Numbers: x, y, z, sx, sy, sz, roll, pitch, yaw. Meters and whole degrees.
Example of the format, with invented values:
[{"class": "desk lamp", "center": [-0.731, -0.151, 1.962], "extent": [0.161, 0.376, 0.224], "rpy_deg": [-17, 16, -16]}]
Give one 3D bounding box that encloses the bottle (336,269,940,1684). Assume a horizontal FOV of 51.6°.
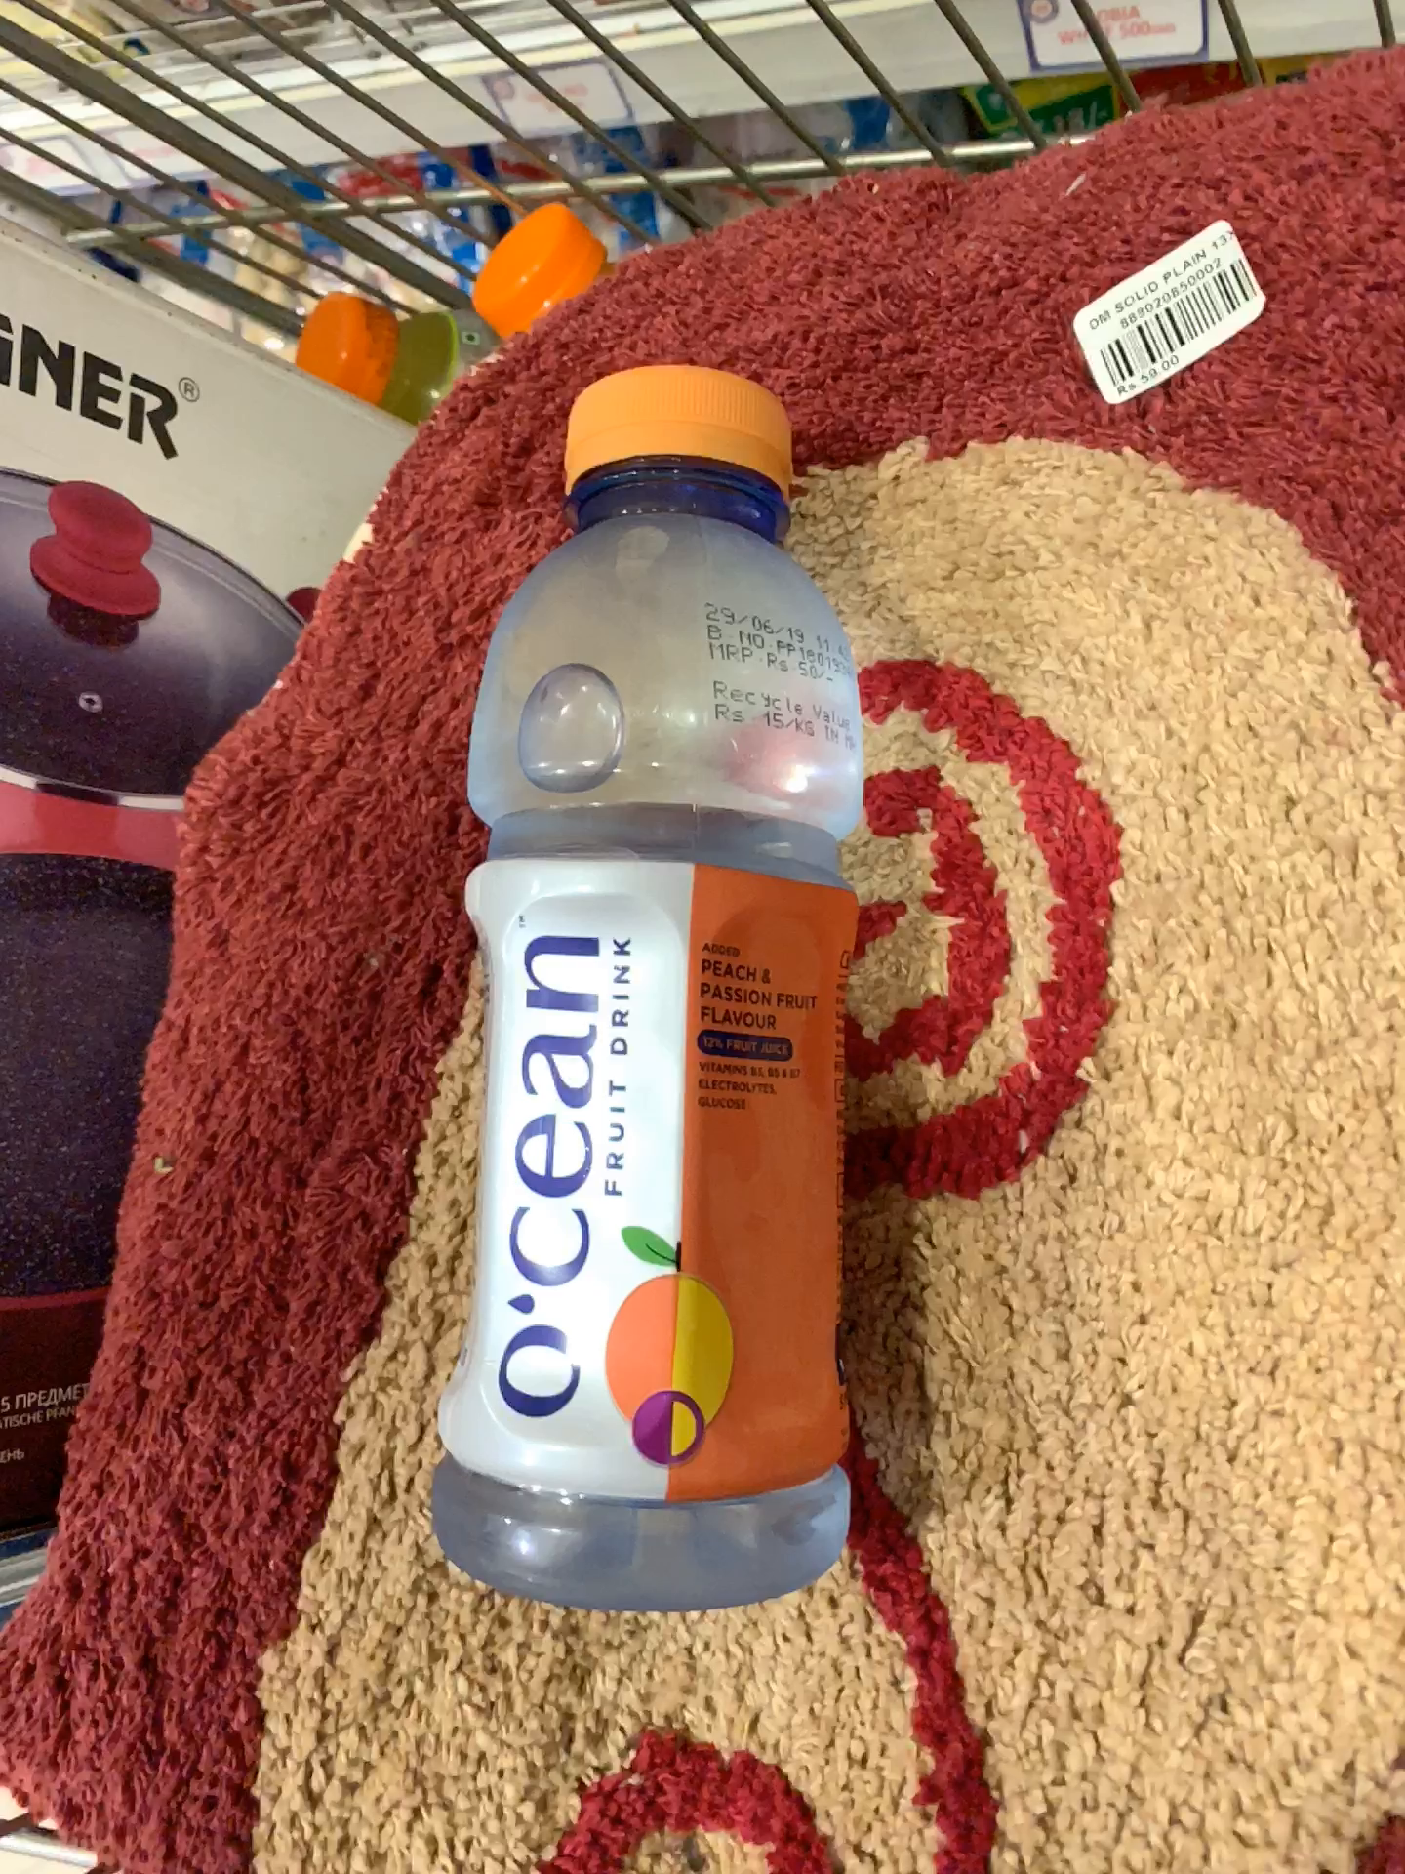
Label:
[{"class": "bottle", "center": [-0.007, 0.005, 0.226], "extent": [0.070, 0.060, 0.180], "rpy_deg": [1, 89, 23]}]
